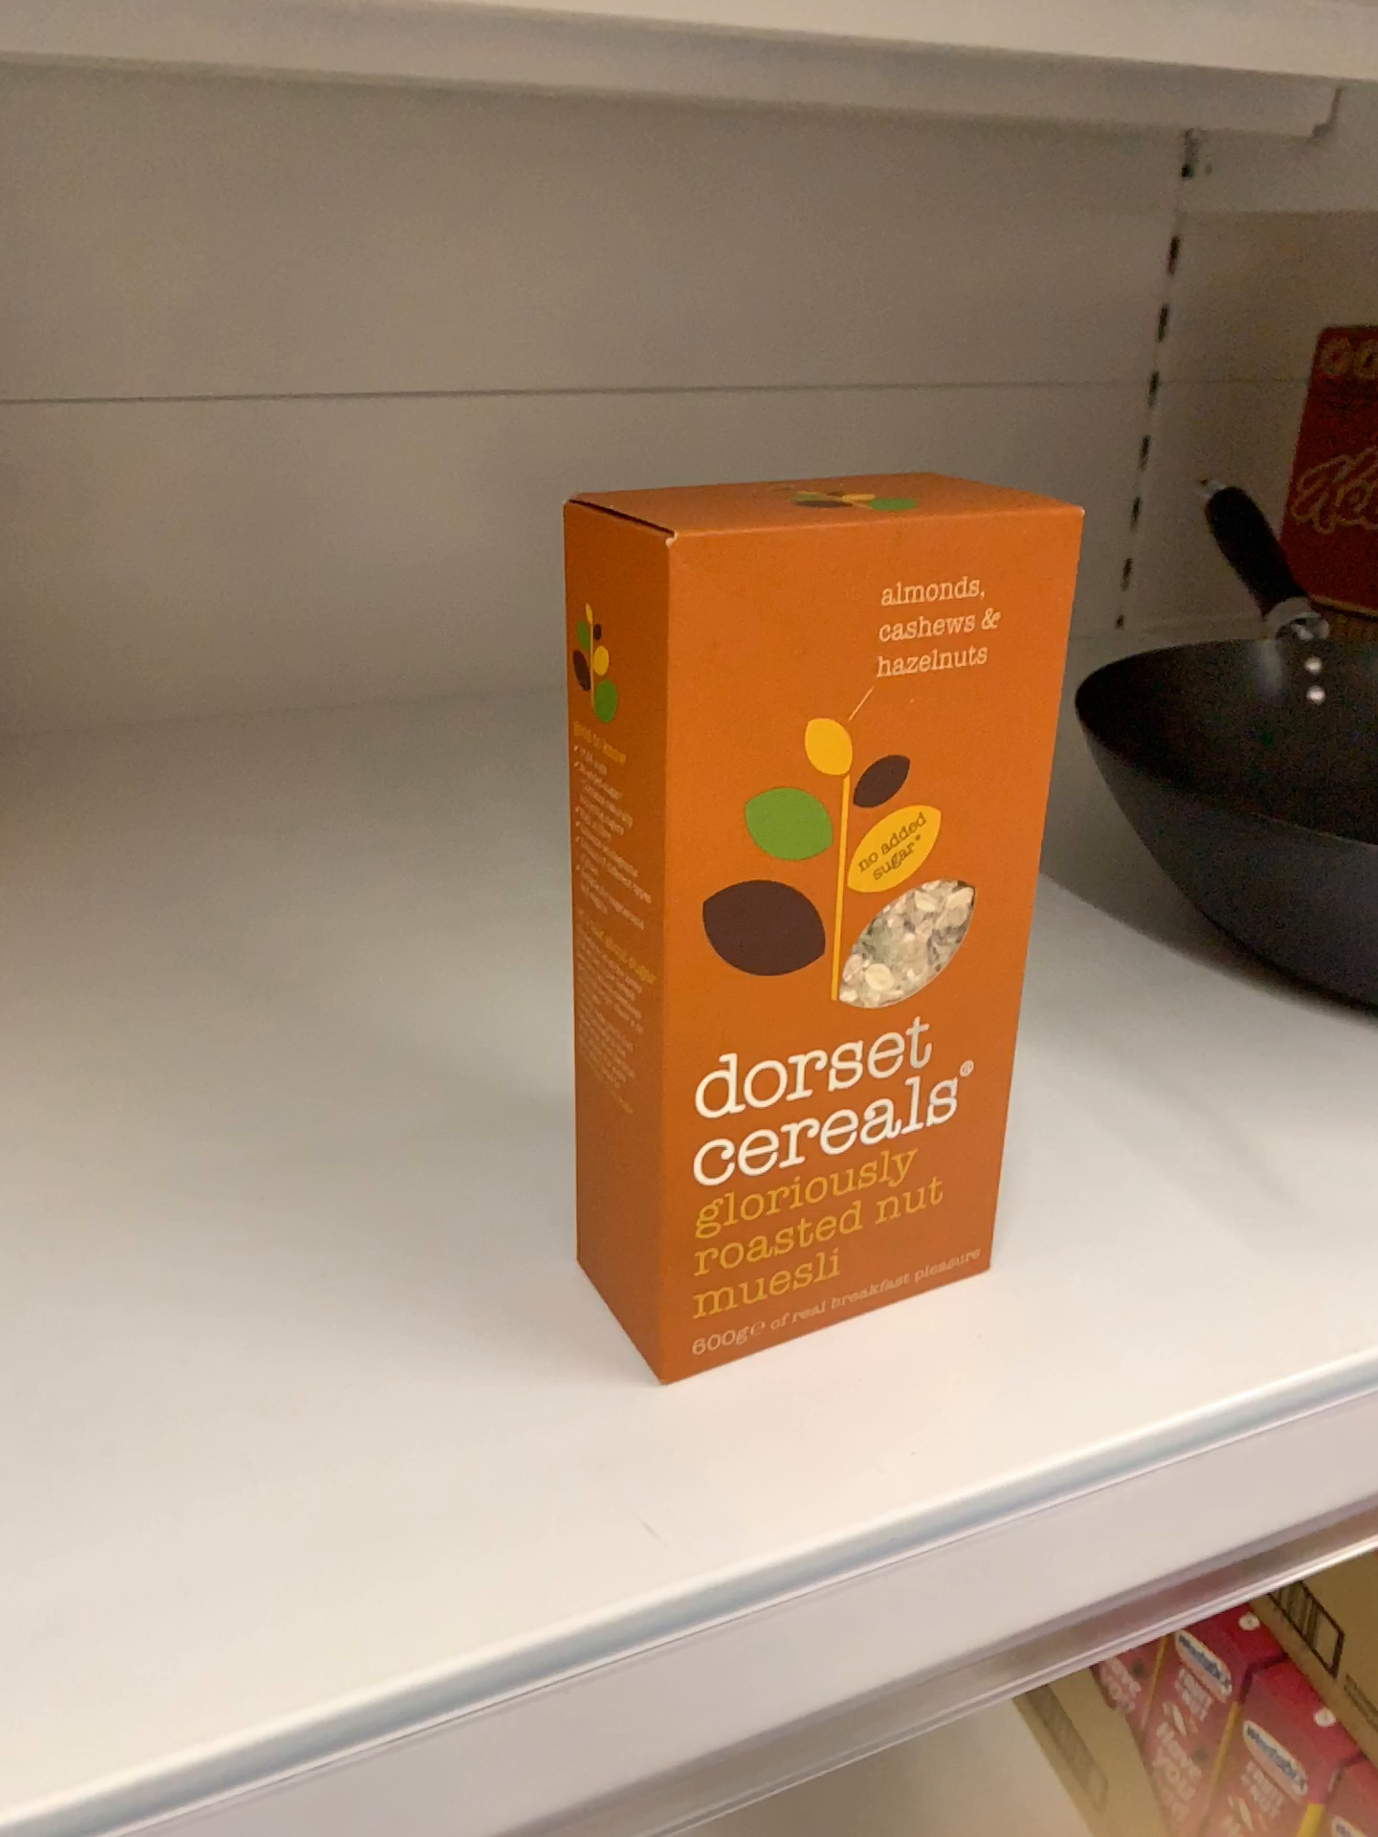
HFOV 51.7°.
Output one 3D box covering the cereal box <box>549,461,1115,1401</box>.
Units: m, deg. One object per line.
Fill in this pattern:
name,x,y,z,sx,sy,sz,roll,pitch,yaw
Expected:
cereal box,0.032,0.002,0.383,0.120,0.228,0.060,-11,27,-26
